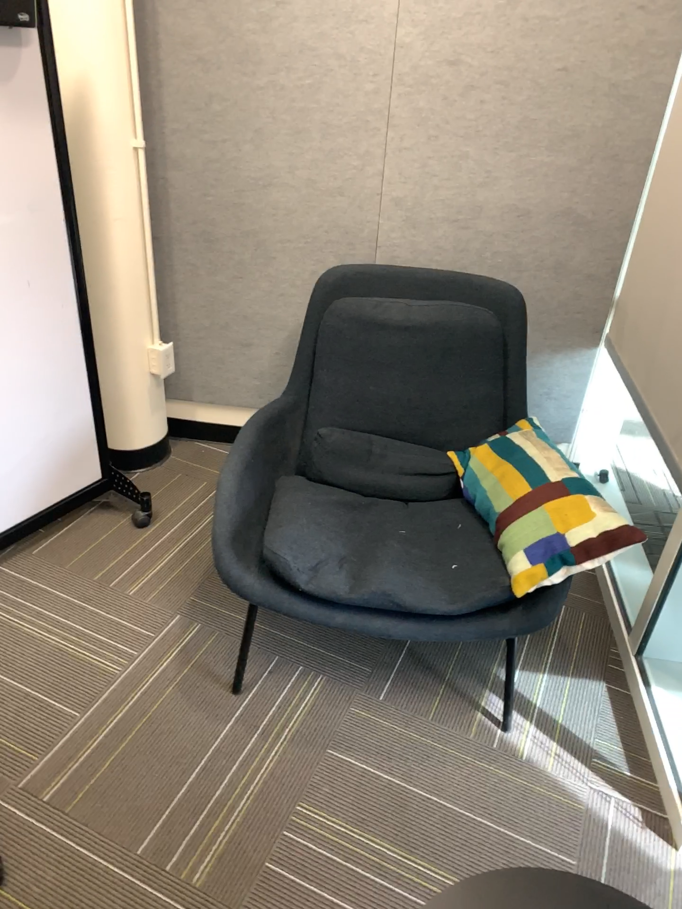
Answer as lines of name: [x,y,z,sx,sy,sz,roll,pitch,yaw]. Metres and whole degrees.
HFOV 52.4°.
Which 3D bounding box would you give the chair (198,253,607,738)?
chair: [0.180,0.023,1.956,0.790,0.815,1.006,10,32,9]
